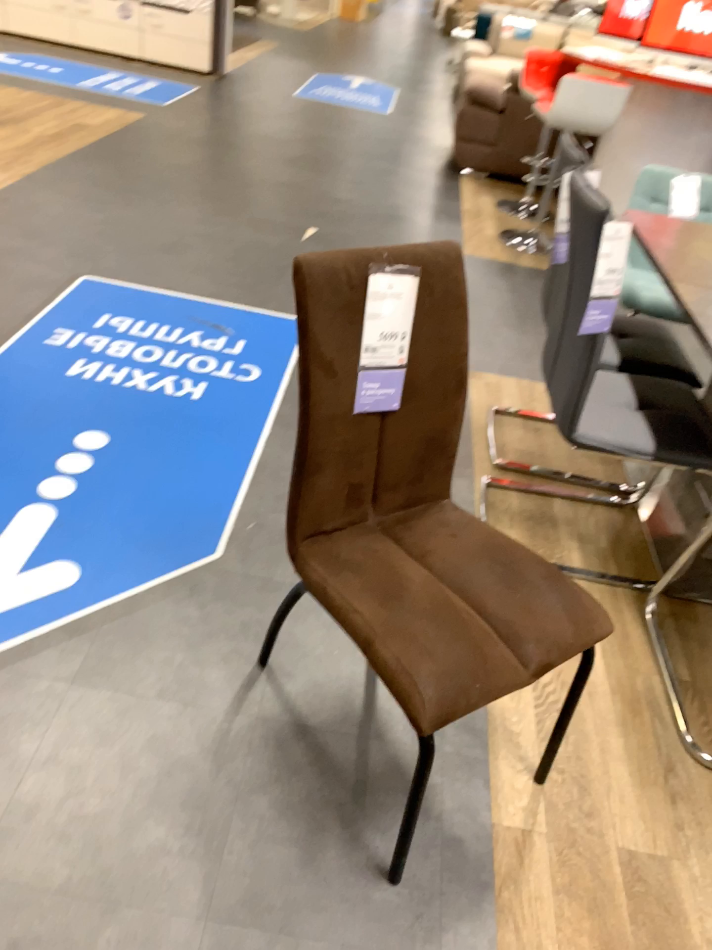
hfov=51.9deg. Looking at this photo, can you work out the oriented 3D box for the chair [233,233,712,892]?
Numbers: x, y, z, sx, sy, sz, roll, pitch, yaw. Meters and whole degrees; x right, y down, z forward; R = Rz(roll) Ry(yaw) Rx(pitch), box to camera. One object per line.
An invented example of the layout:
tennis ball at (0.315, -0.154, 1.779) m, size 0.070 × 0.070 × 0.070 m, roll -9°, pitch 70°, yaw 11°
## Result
chair at (0.138, 0.150, 1.344) m, size 0.441 × 0.964 × 0.592 m, roll -16°, pitch 43°, yaw -33°
